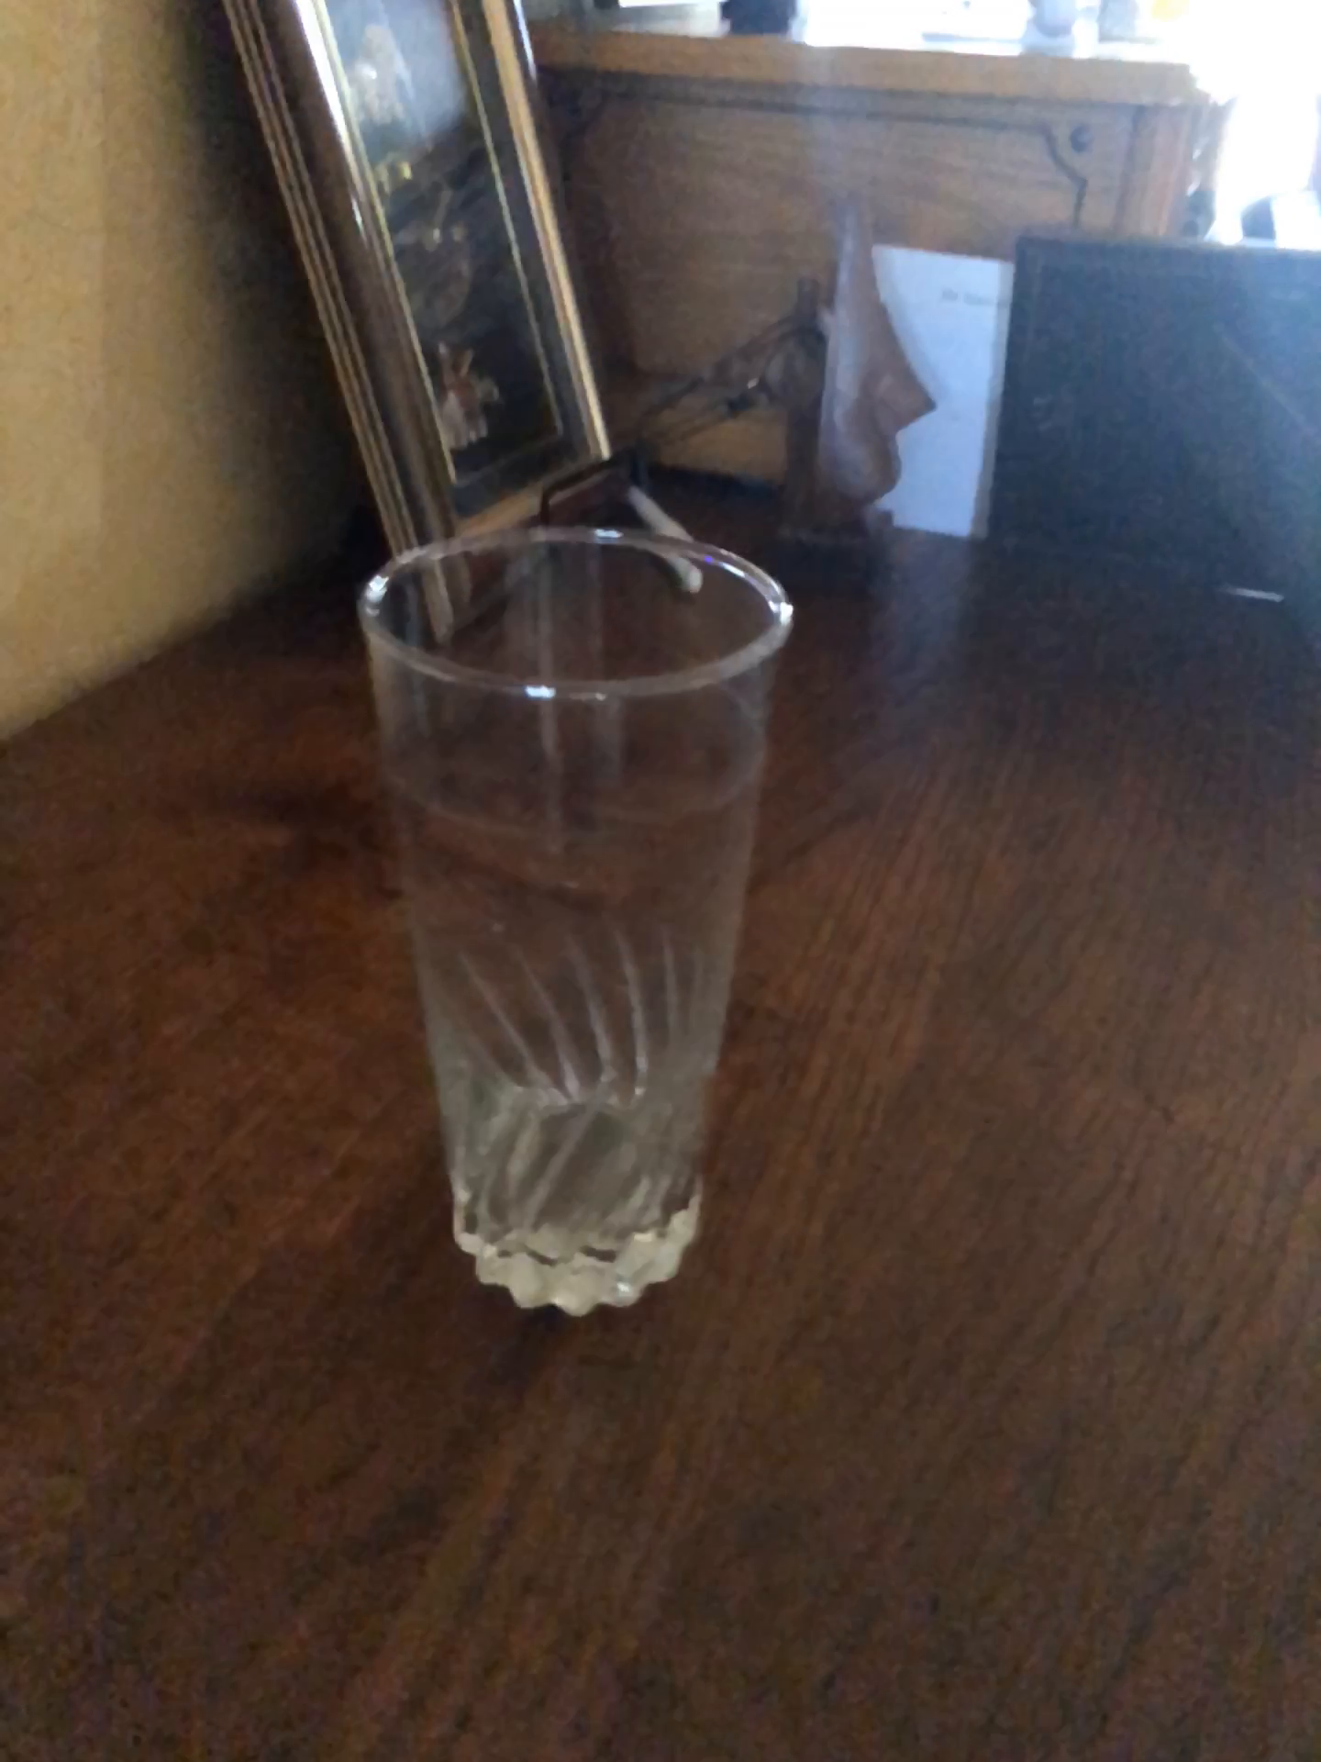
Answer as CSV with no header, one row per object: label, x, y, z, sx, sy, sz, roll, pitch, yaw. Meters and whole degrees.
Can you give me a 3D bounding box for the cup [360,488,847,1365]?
cup,-0.016,0.010,0.281,0.070,0.149,0.070,2,32,-1
